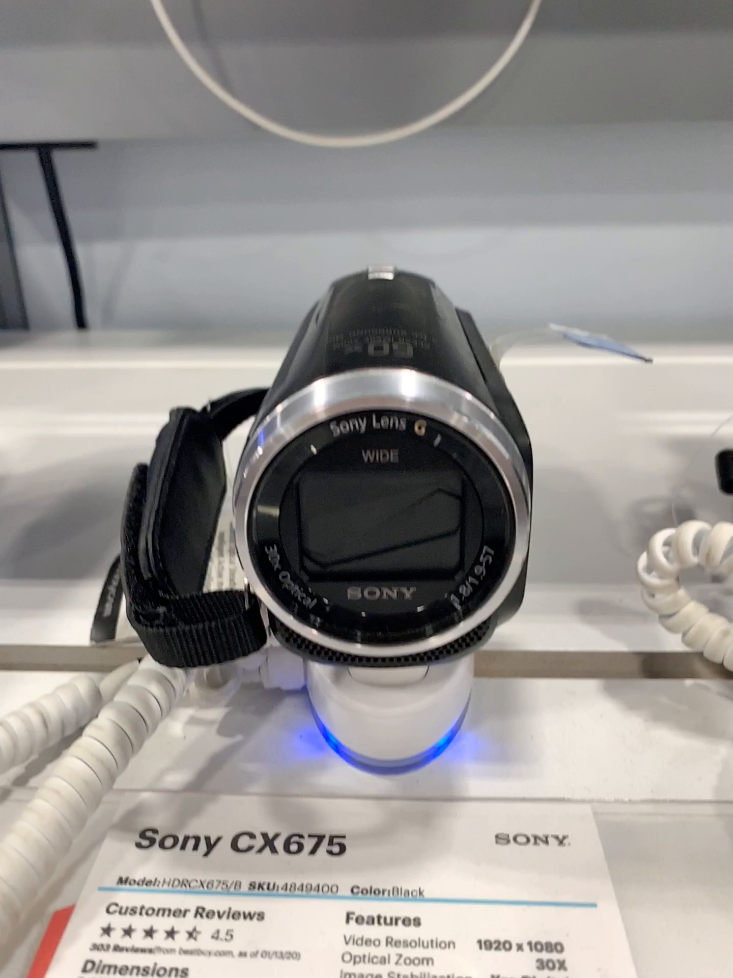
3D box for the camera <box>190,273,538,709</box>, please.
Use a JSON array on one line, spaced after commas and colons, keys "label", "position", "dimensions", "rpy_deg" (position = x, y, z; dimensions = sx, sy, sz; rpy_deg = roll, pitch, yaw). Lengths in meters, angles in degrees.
[{"label": "camera", "position": [0.001, -0.011, 0.182], "dimensions": [0.053, 0.060, 0.113], "rpy_deg": [0, 25, 2]}]
